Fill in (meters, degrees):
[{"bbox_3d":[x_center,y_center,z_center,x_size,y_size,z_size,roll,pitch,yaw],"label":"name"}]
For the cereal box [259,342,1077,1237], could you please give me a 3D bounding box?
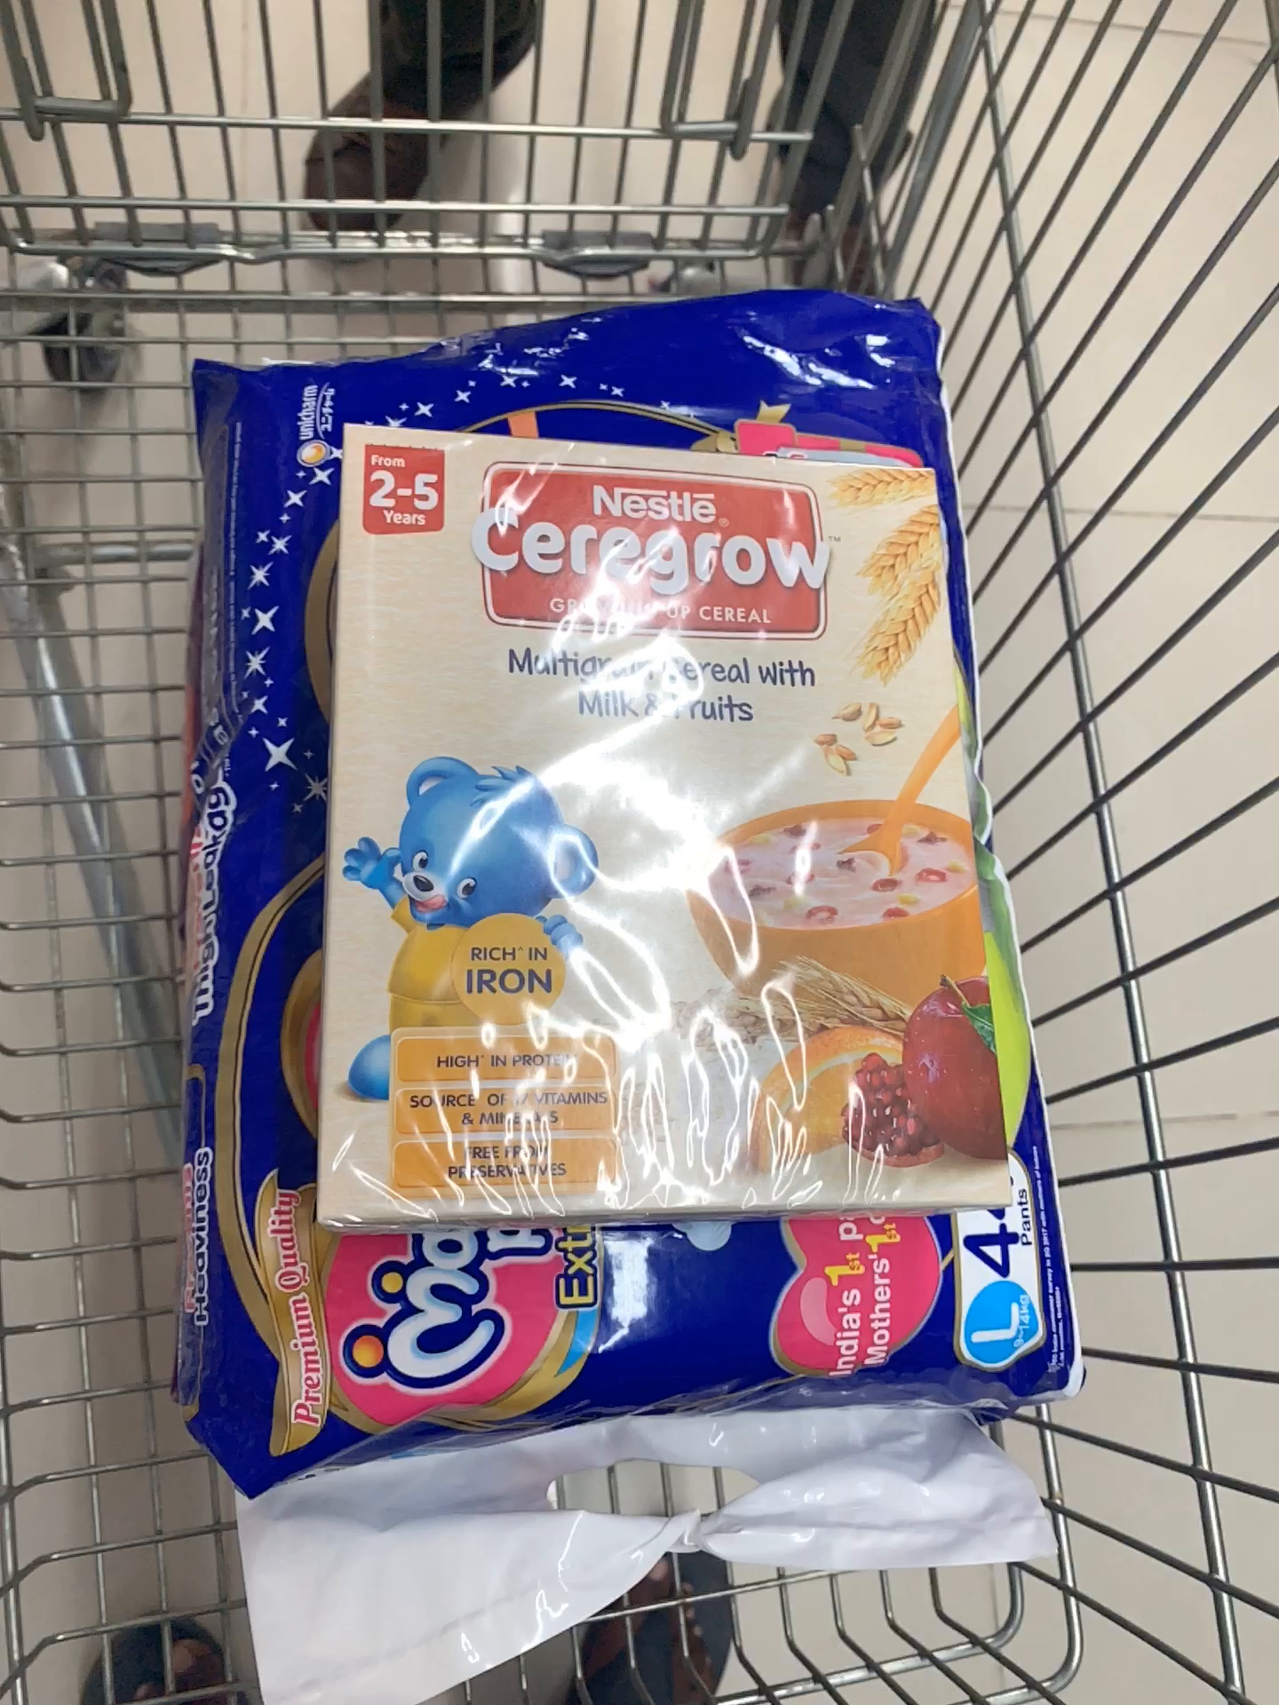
[{"bbox_3d":[0.002,-0.014,0.303,0.160,0.050,0.190,1,73,-10],"label":"cereal box"}]
